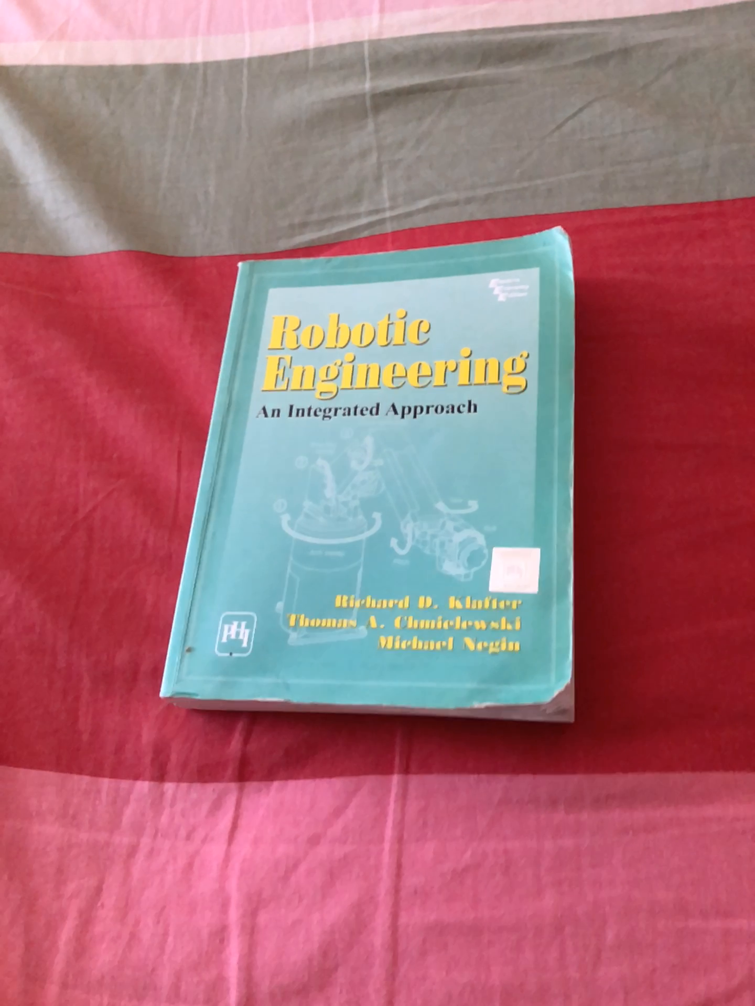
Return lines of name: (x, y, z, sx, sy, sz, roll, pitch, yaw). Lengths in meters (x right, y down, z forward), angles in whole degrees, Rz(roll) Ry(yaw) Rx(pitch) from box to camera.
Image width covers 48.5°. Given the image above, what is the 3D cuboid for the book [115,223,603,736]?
book: (0.001, -0.016, 0.348, 0.172, 0.043, 0.205, 0, 65, 12)
